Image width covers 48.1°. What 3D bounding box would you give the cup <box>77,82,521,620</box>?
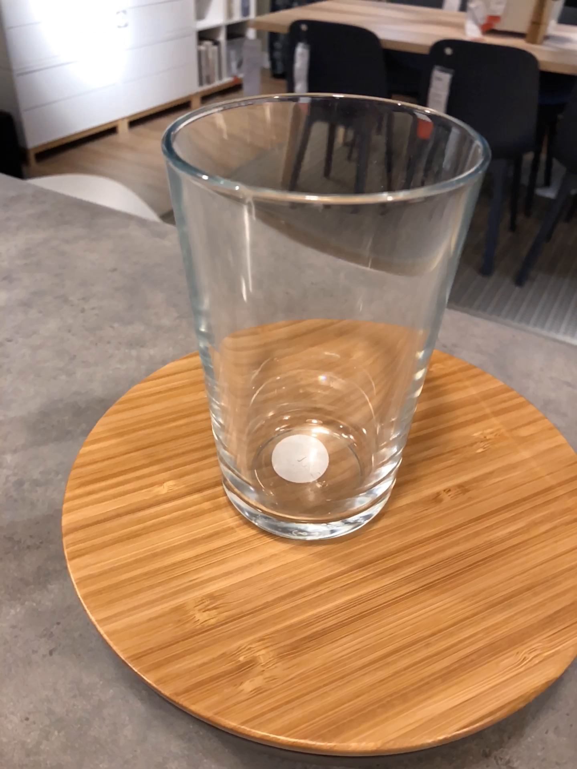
[{"bbox_3d":[0.009,-0.016,0.228,0.100,0.139,0.100,2,37,-1],"label":"cup"}]
